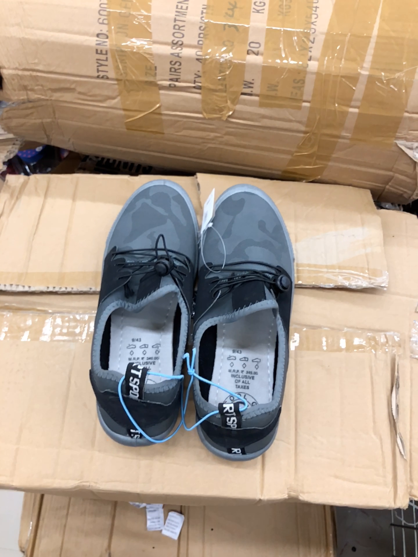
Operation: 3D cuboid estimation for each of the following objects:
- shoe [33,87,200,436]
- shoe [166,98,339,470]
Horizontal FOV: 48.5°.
[{"bbox_3d":[-0.066,-0.015,0.448,0.110,0.150,0.301,1,65,-2],"label":"shoe"},{"bbox_3d":[0.035,0.003,0.416,0.110,0.130,0.301,4,65,0],"label":"shoe"}]
